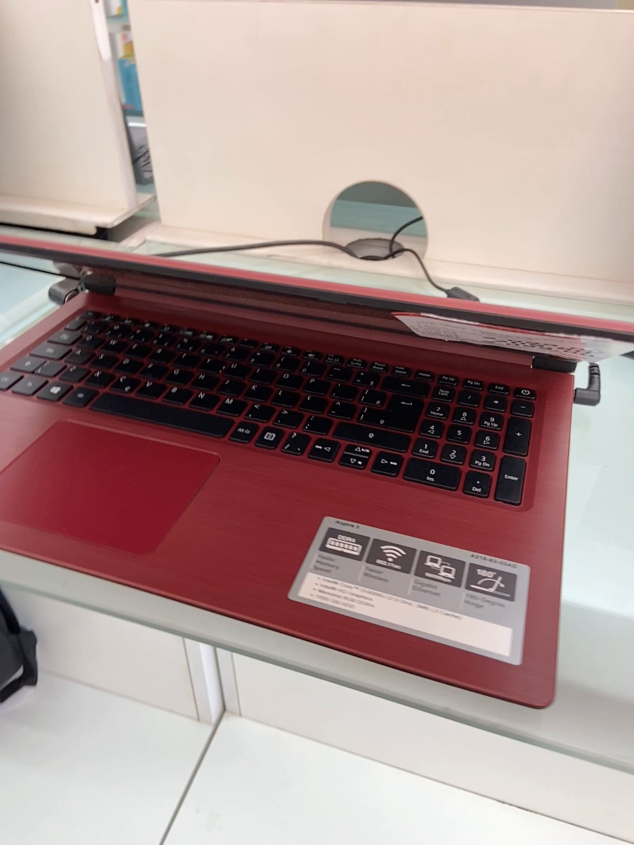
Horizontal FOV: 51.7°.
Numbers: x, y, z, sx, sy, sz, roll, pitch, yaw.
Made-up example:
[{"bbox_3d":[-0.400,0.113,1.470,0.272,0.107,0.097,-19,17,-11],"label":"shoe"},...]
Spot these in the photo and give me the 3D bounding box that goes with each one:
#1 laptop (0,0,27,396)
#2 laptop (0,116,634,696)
[{"bbox_3d":[-0.547,-0.251,0.539,0.353,0.215,0.379,13,39,15],"label":"laptop"},{"bbox_3d":[-0.051,-0.053,0.347,0.379,0.132,0.237,11,38,15],"label":"laptop"}]
